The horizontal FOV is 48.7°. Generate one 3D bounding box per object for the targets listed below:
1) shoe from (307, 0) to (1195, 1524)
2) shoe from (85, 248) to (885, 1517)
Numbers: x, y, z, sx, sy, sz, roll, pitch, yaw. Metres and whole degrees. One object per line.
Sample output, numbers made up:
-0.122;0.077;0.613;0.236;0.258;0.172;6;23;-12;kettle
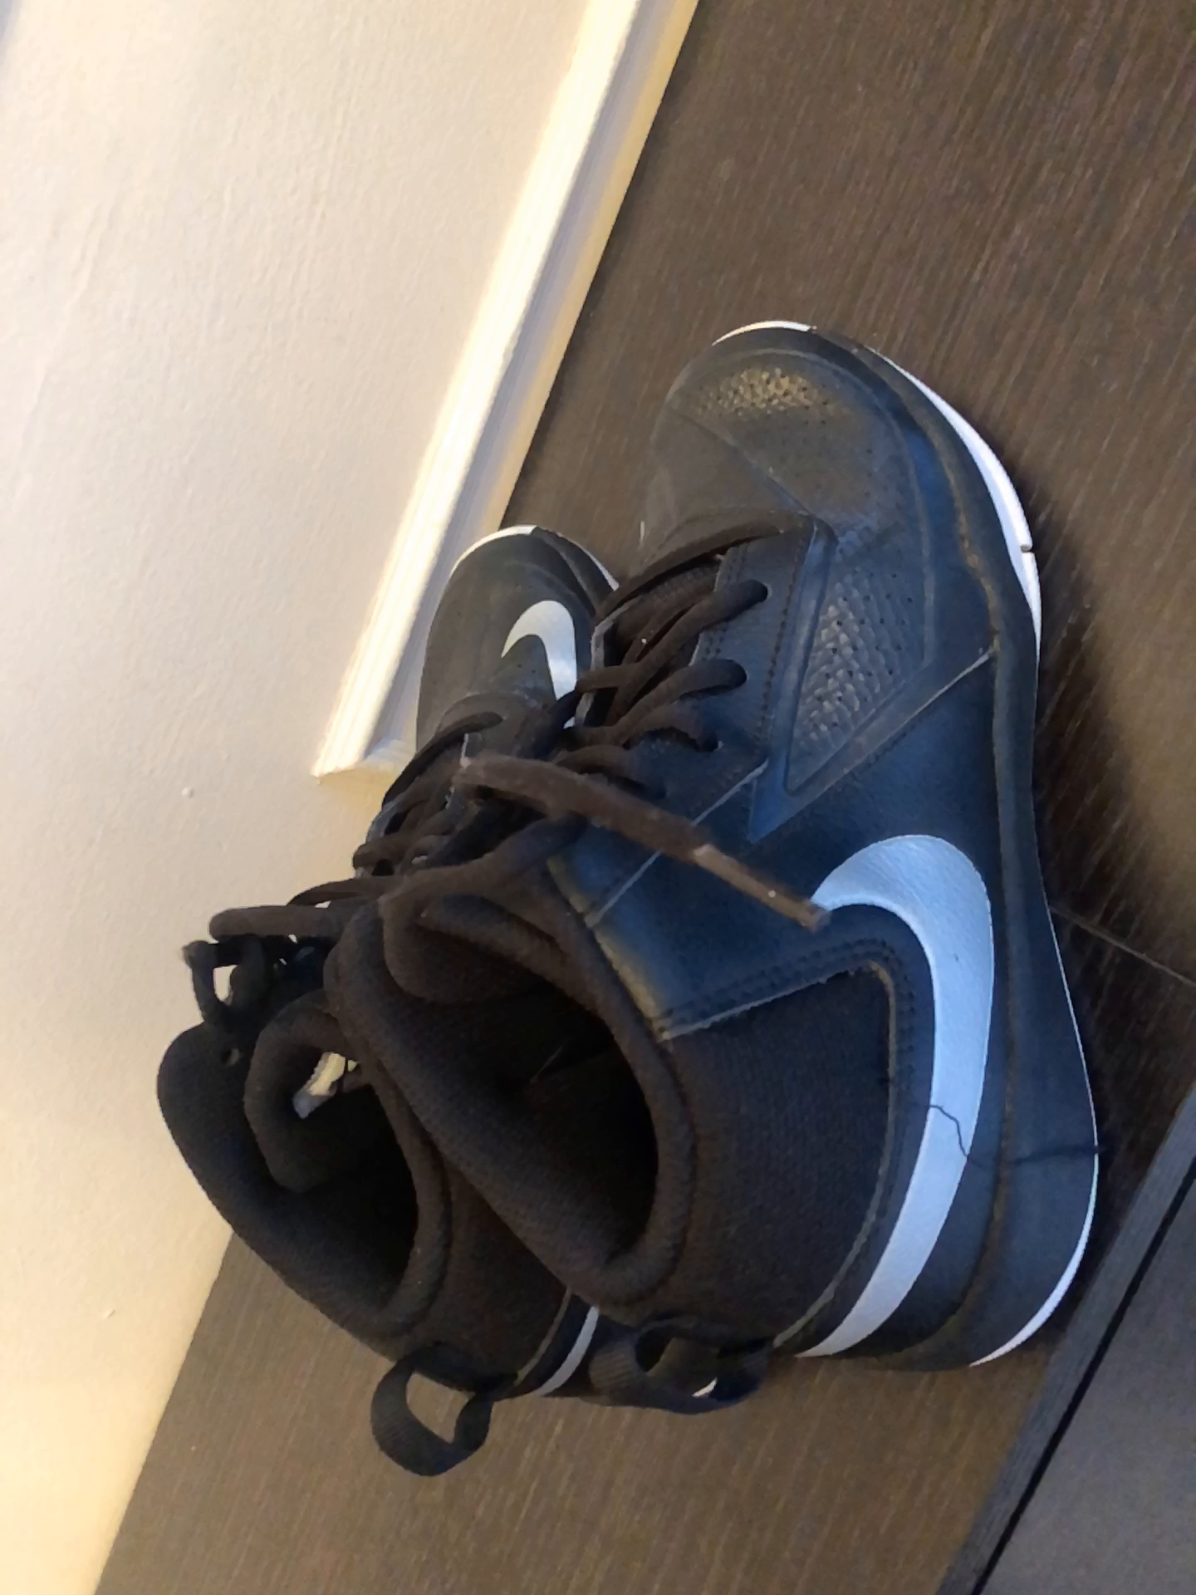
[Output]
0.027;-0.010;0.261;0.100;0.129;0.251;-28;59;42;shoe
-0.042;0.018;0.328;0.100;0.129;0.261;-35;54;39;shoe
